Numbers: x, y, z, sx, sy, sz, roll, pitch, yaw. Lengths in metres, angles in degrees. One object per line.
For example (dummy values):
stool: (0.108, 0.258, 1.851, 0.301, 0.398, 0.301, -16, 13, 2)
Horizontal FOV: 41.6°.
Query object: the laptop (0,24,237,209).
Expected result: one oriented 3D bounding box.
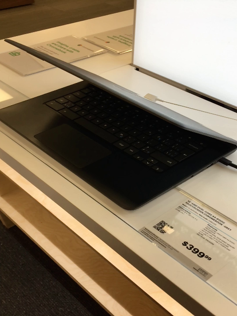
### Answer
laptop: (-0.017, -0.088, 0.487, 0.216, 0.122, 0.323, -35, 54, -30)
